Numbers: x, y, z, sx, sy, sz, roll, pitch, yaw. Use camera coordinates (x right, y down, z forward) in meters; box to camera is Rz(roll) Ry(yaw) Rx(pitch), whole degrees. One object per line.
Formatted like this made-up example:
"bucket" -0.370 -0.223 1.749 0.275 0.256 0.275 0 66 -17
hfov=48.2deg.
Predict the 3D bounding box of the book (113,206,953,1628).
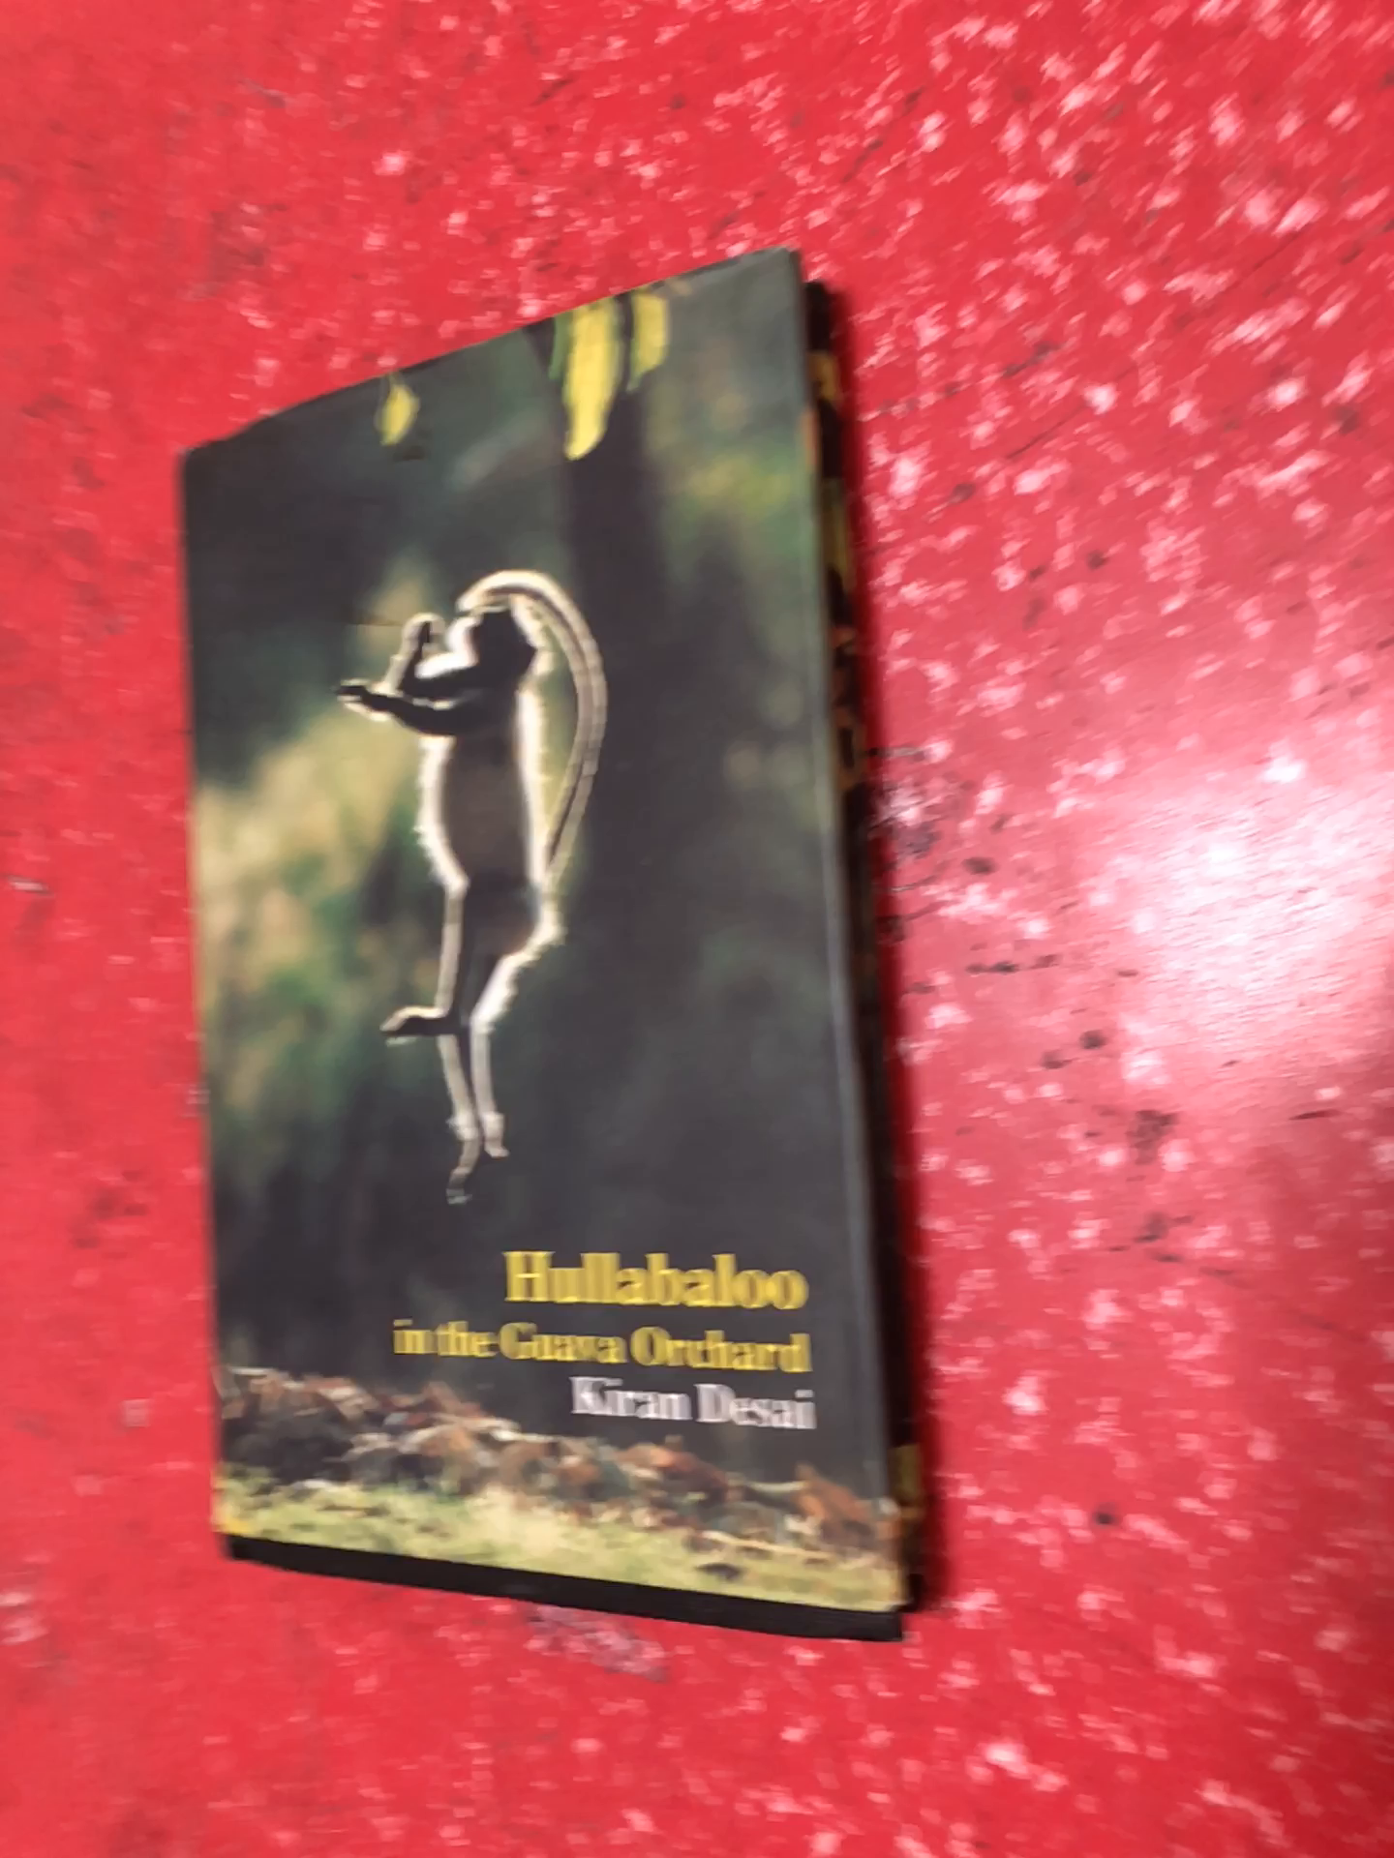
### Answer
"book" -0.041 0.002 0.301 0.161 0.030 0.230 -7 84 28
